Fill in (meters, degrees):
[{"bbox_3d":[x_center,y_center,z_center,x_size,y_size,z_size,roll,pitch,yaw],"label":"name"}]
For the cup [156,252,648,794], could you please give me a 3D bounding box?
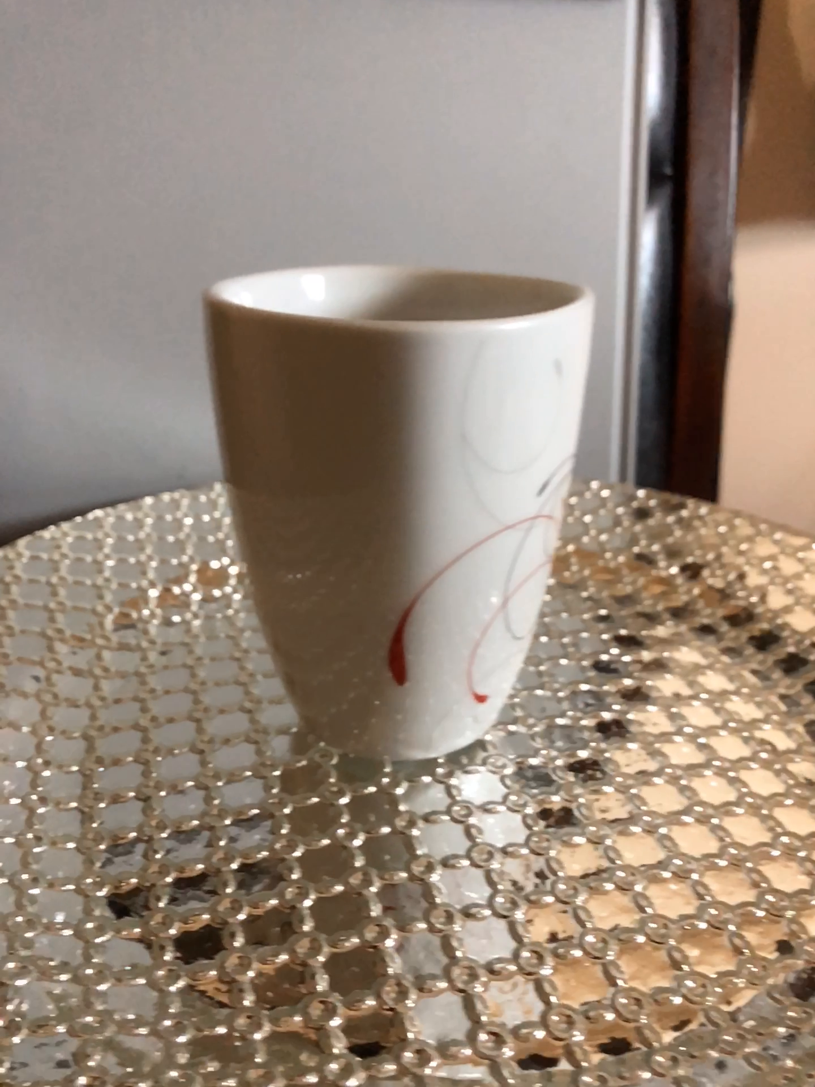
[{"bbox_3d":[0.006,-0.018,0.242,0.080,0.100,0.110,11,24,23],"label":"cup"}]
